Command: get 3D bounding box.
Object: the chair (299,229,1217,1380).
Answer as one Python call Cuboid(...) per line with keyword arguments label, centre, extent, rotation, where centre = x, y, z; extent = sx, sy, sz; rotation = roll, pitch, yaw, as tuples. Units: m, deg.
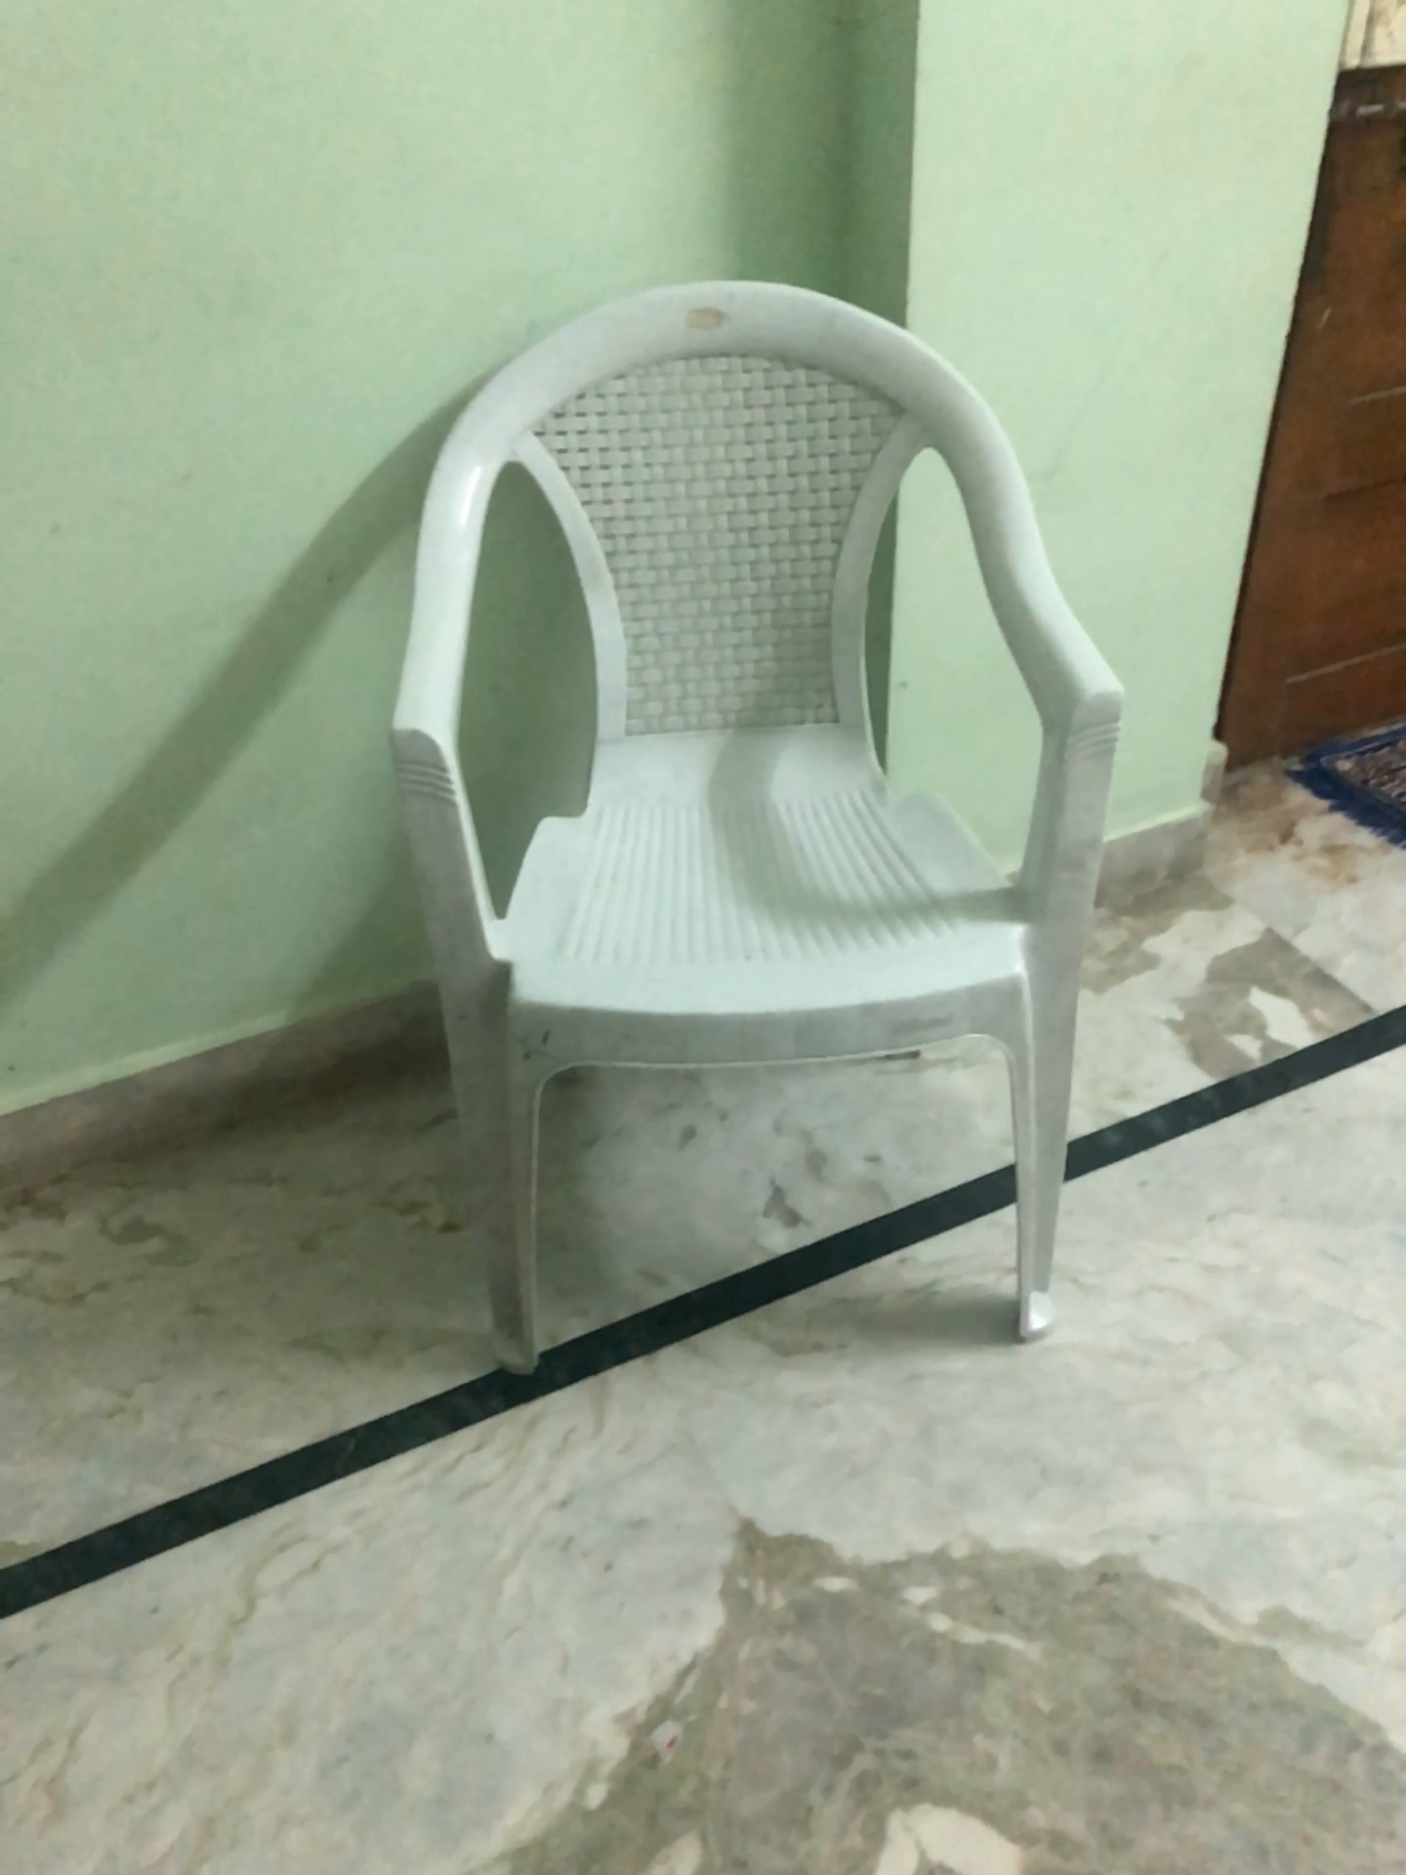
Cuboid(label="chair", centre=(0.041, -0.105, 1.347), extent=(0.530, 0.824, 0.534), rotation=(-2, 36, 0))
